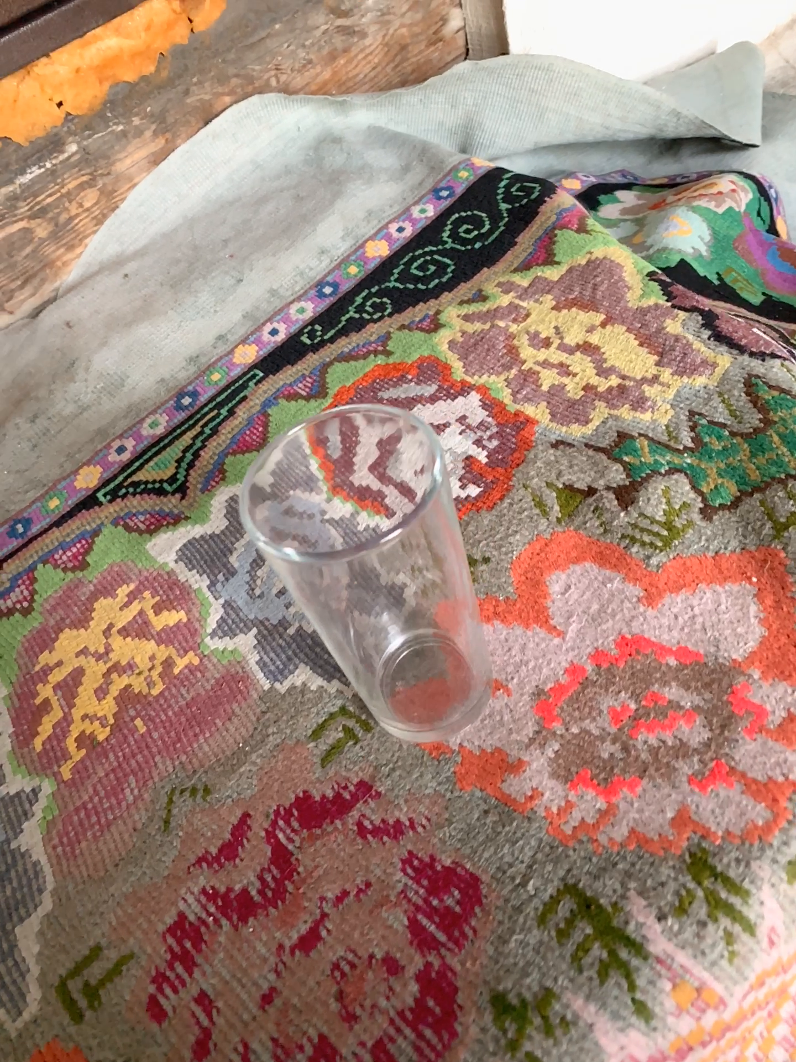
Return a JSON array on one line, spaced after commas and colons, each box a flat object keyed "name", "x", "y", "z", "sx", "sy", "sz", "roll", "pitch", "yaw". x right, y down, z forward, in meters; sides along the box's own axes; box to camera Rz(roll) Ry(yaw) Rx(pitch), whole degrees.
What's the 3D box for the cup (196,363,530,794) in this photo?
[{"name": "cup", "x": -0.006, "y": 0.021, "z": 0.259, "sx": 0.060, "sy": 0.119, "sz": 0.060, "roll": -10, "pitch": 48, "yaw": 11}]
